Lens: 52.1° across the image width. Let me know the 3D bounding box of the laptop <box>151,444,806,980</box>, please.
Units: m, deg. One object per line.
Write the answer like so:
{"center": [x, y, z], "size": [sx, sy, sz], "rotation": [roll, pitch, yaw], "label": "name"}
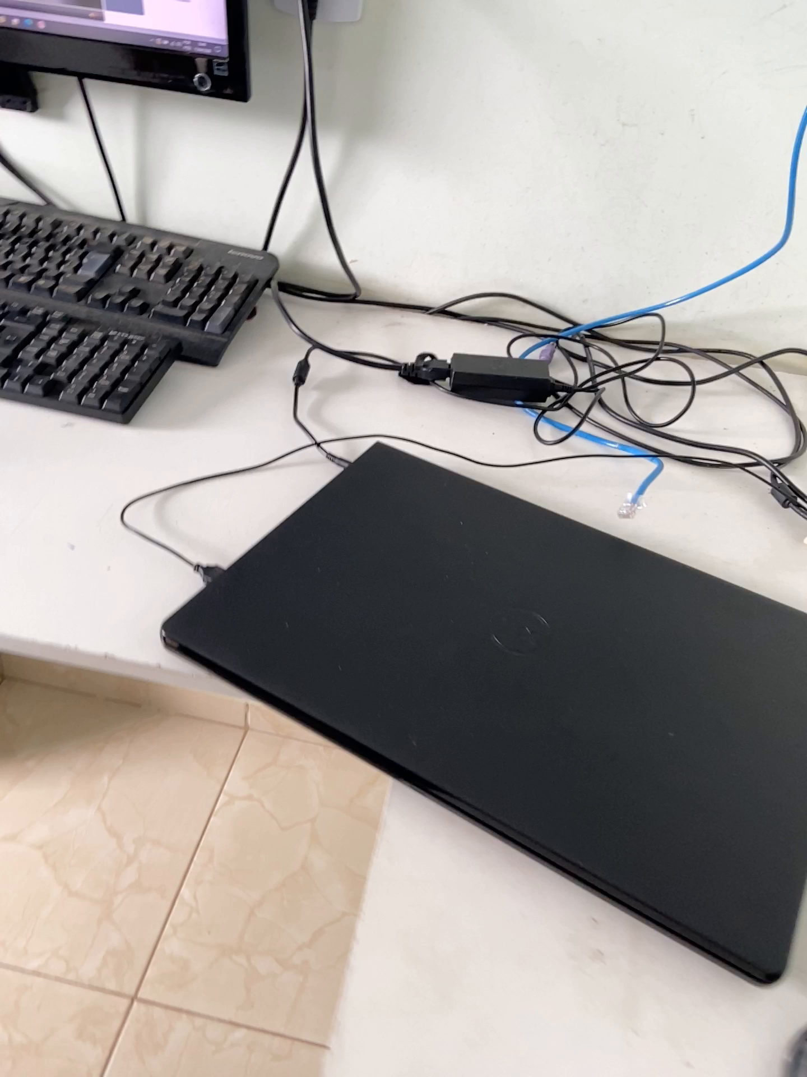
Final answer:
{"center": [0.077, 0.061, 0.526], "size": [0.376, 0.003, 0.261], "rotation": [24, 42, 19], "label": "laptop"}
